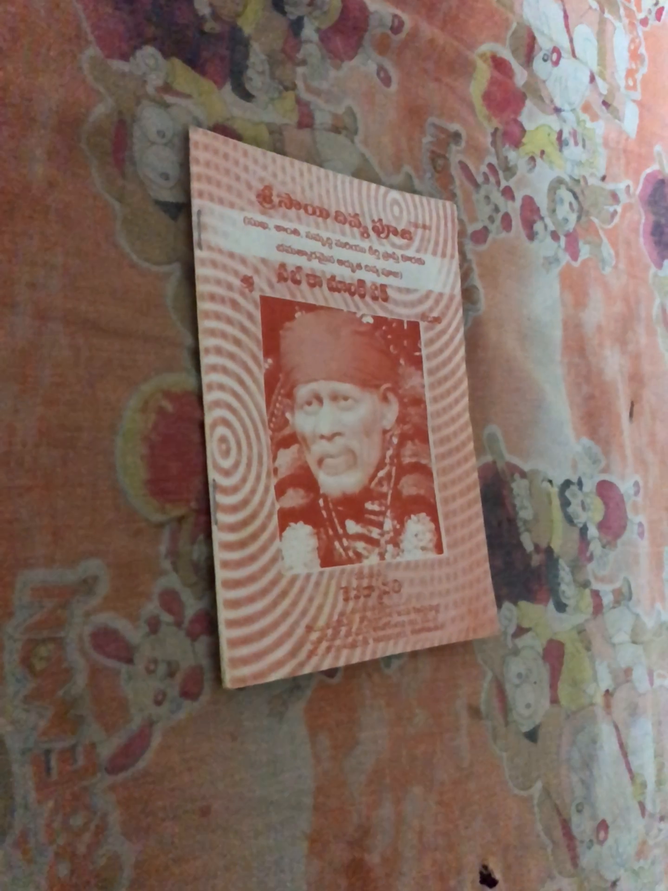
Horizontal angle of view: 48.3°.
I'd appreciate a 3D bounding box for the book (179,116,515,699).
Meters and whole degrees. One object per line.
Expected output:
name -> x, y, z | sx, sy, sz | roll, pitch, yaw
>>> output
book -> 0.009, -0.014, 0.256 | 0.121, 0.010, 0.173 | 2, 79, -38
